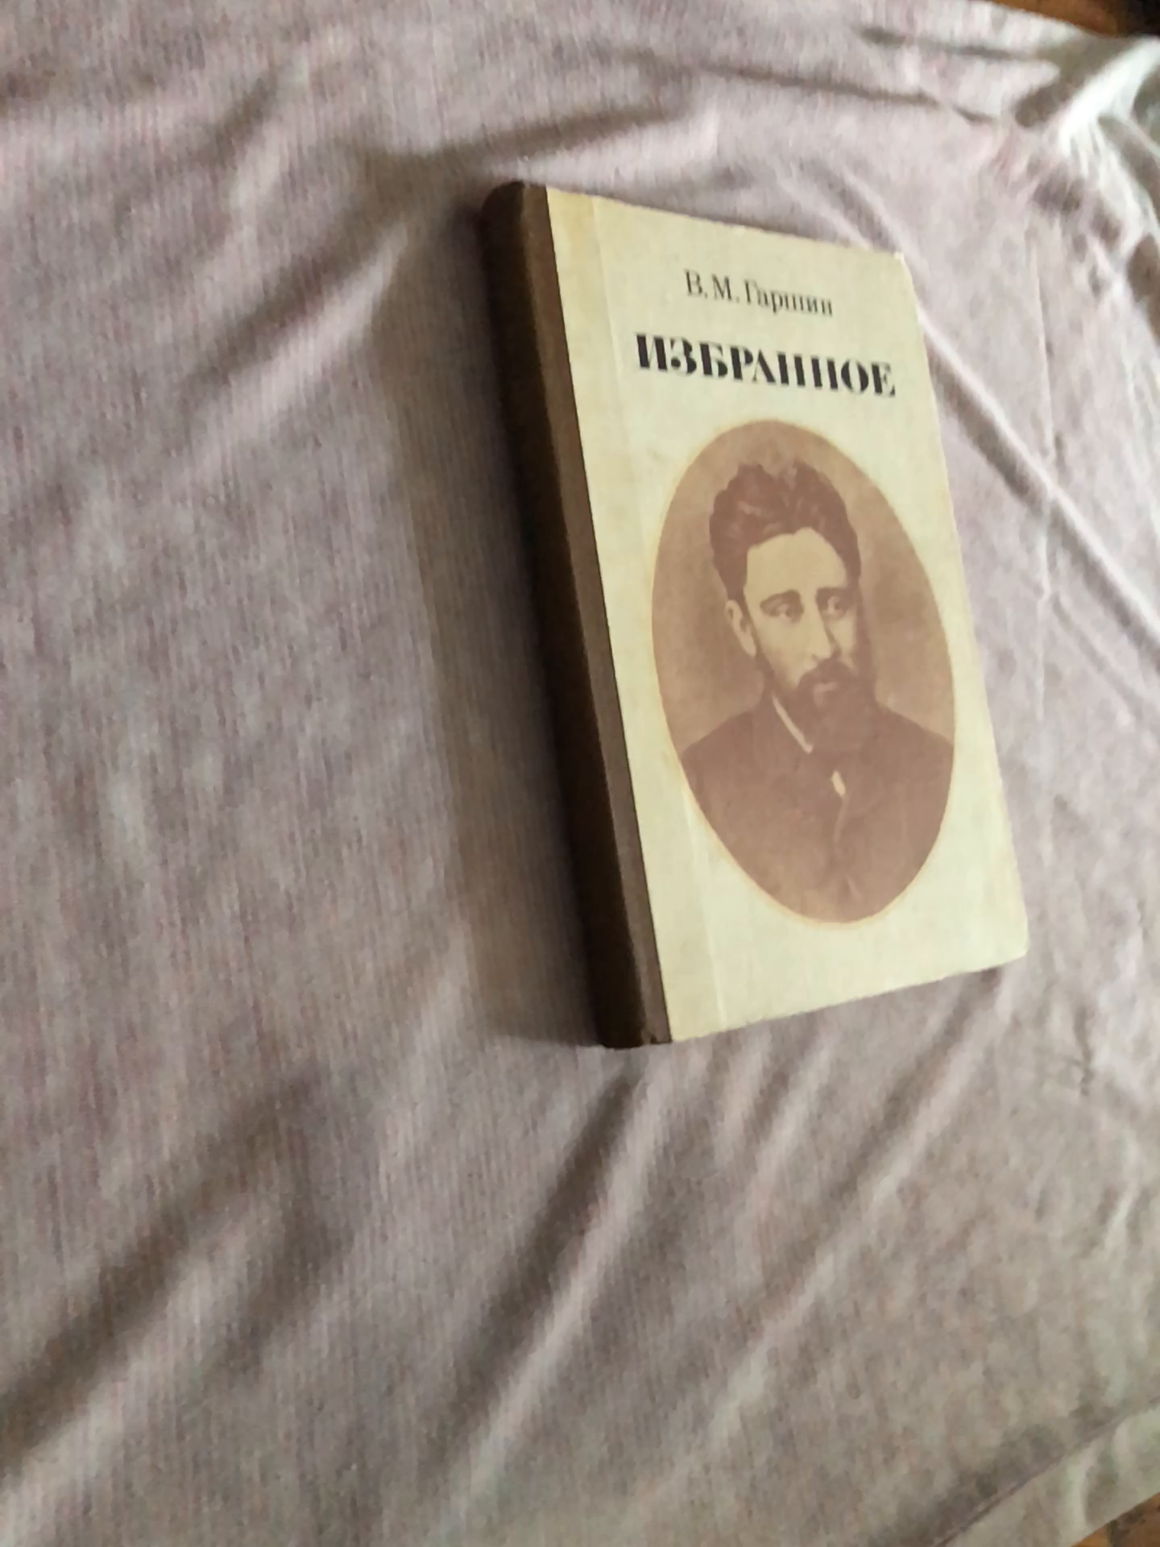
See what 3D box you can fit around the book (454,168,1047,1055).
[{"bbox_3d":[0.052,-0.046,0.362,0.142,0.030,0.220,-6,84,-33],"label":"book"}]
